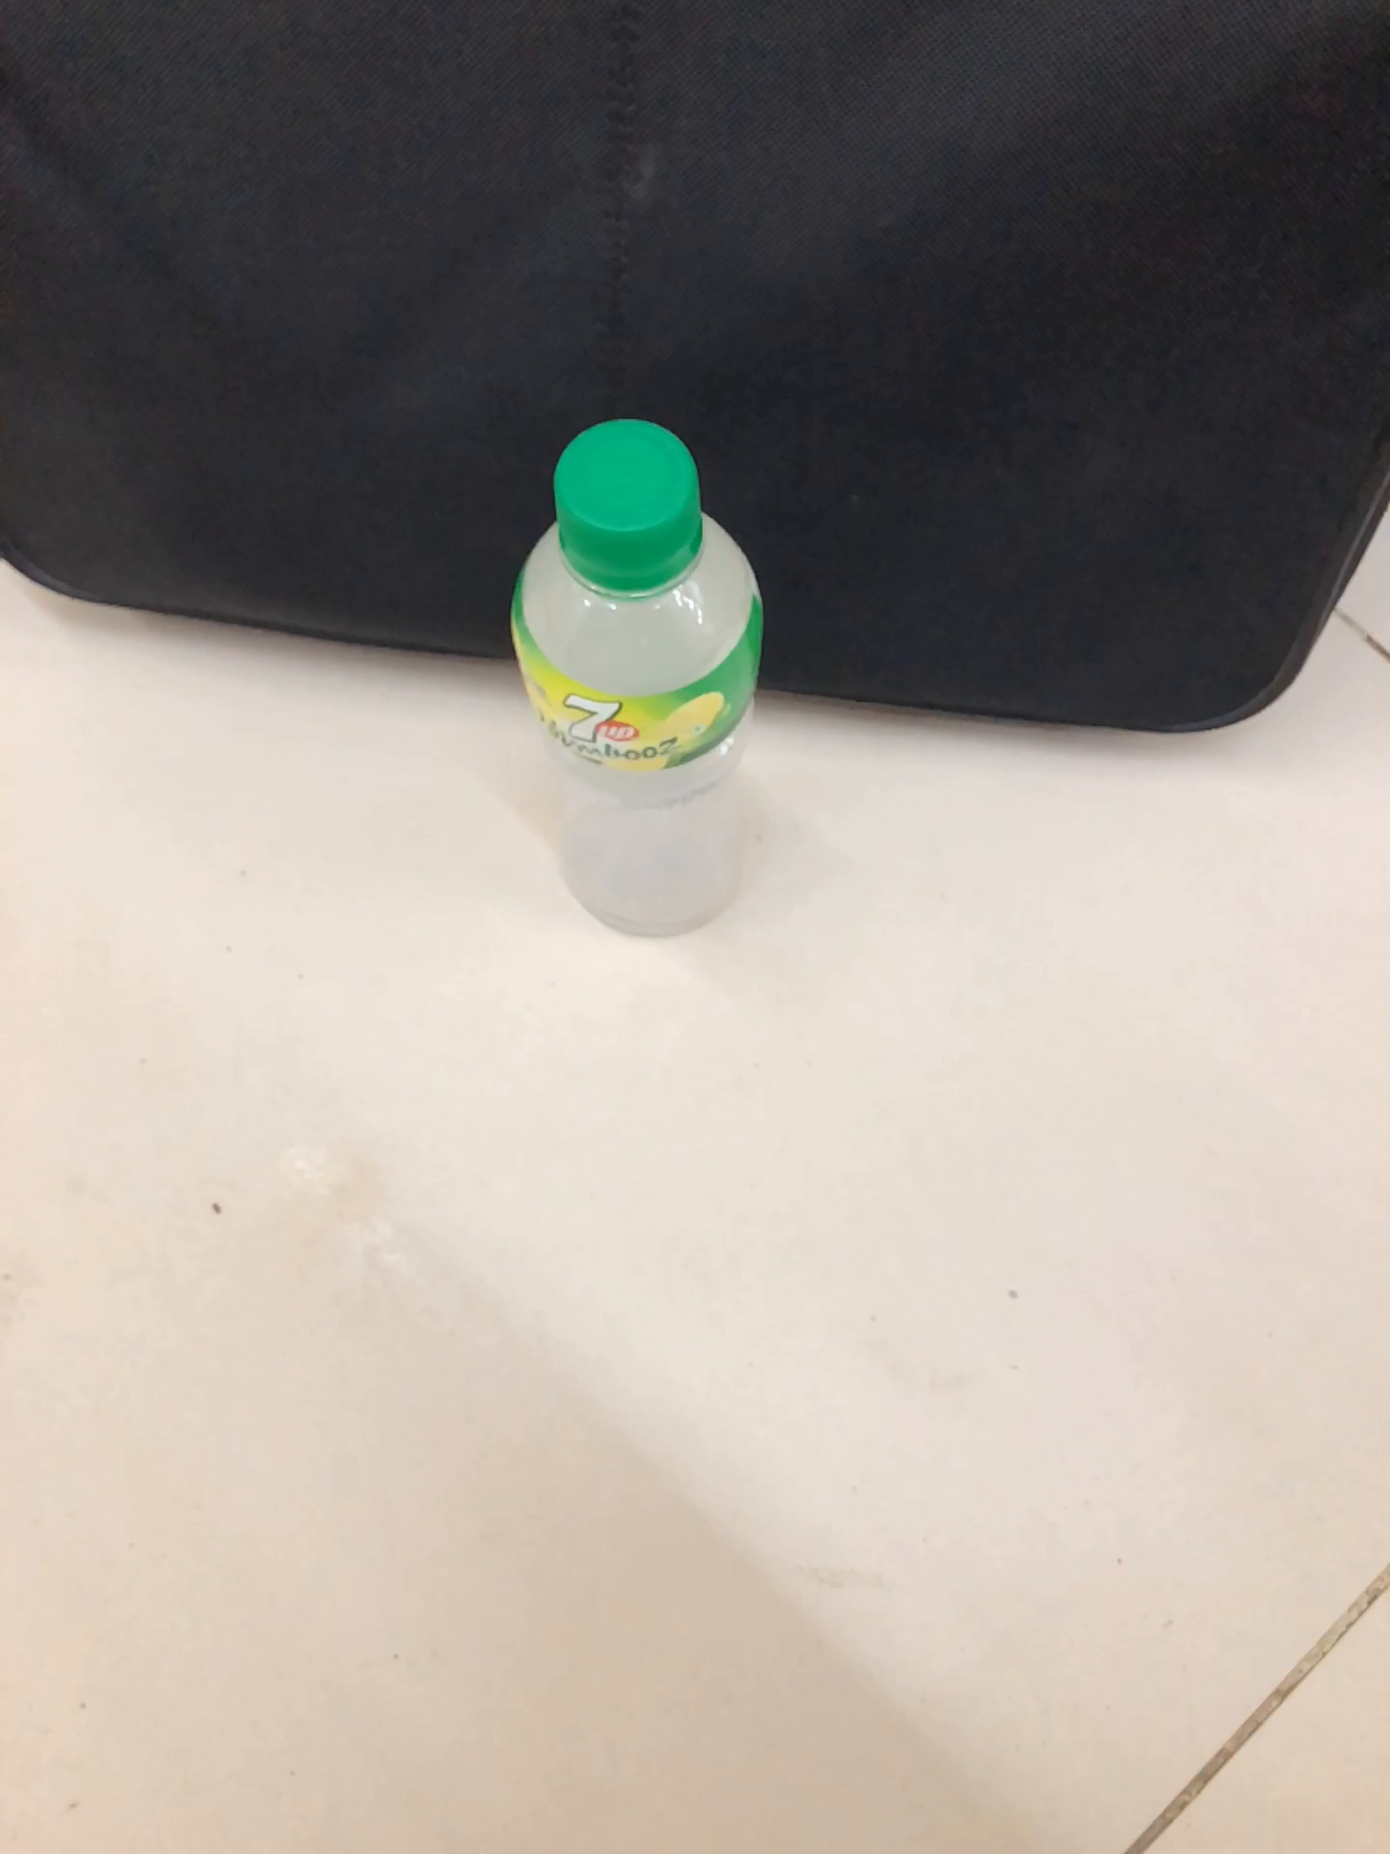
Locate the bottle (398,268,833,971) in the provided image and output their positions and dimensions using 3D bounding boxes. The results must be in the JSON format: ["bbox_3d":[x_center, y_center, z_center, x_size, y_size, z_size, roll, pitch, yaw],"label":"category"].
[{"bbox_3d":[-0.014,-0.060,0.385,0.070,0.189,0.070,0,69,0],"label":"bottle"}]
